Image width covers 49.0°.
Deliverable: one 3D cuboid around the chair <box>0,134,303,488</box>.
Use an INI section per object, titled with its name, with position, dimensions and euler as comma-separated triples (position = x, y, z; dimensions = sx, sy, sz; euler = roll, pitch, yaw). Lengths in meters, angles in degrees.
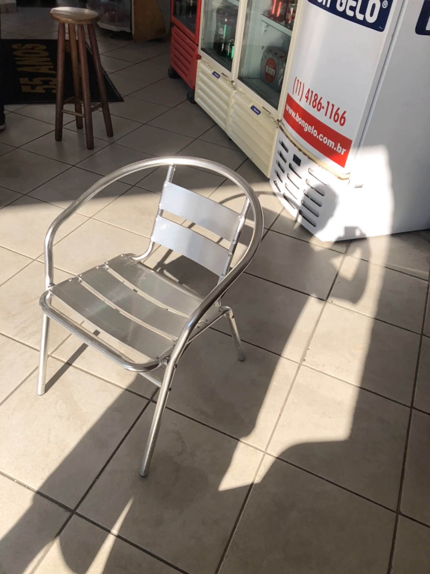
[chair]
position = -0.182, 0.035, 1.432
dimensions = 0.521, 0.705, 0.633
euler = 28, 43, 23
